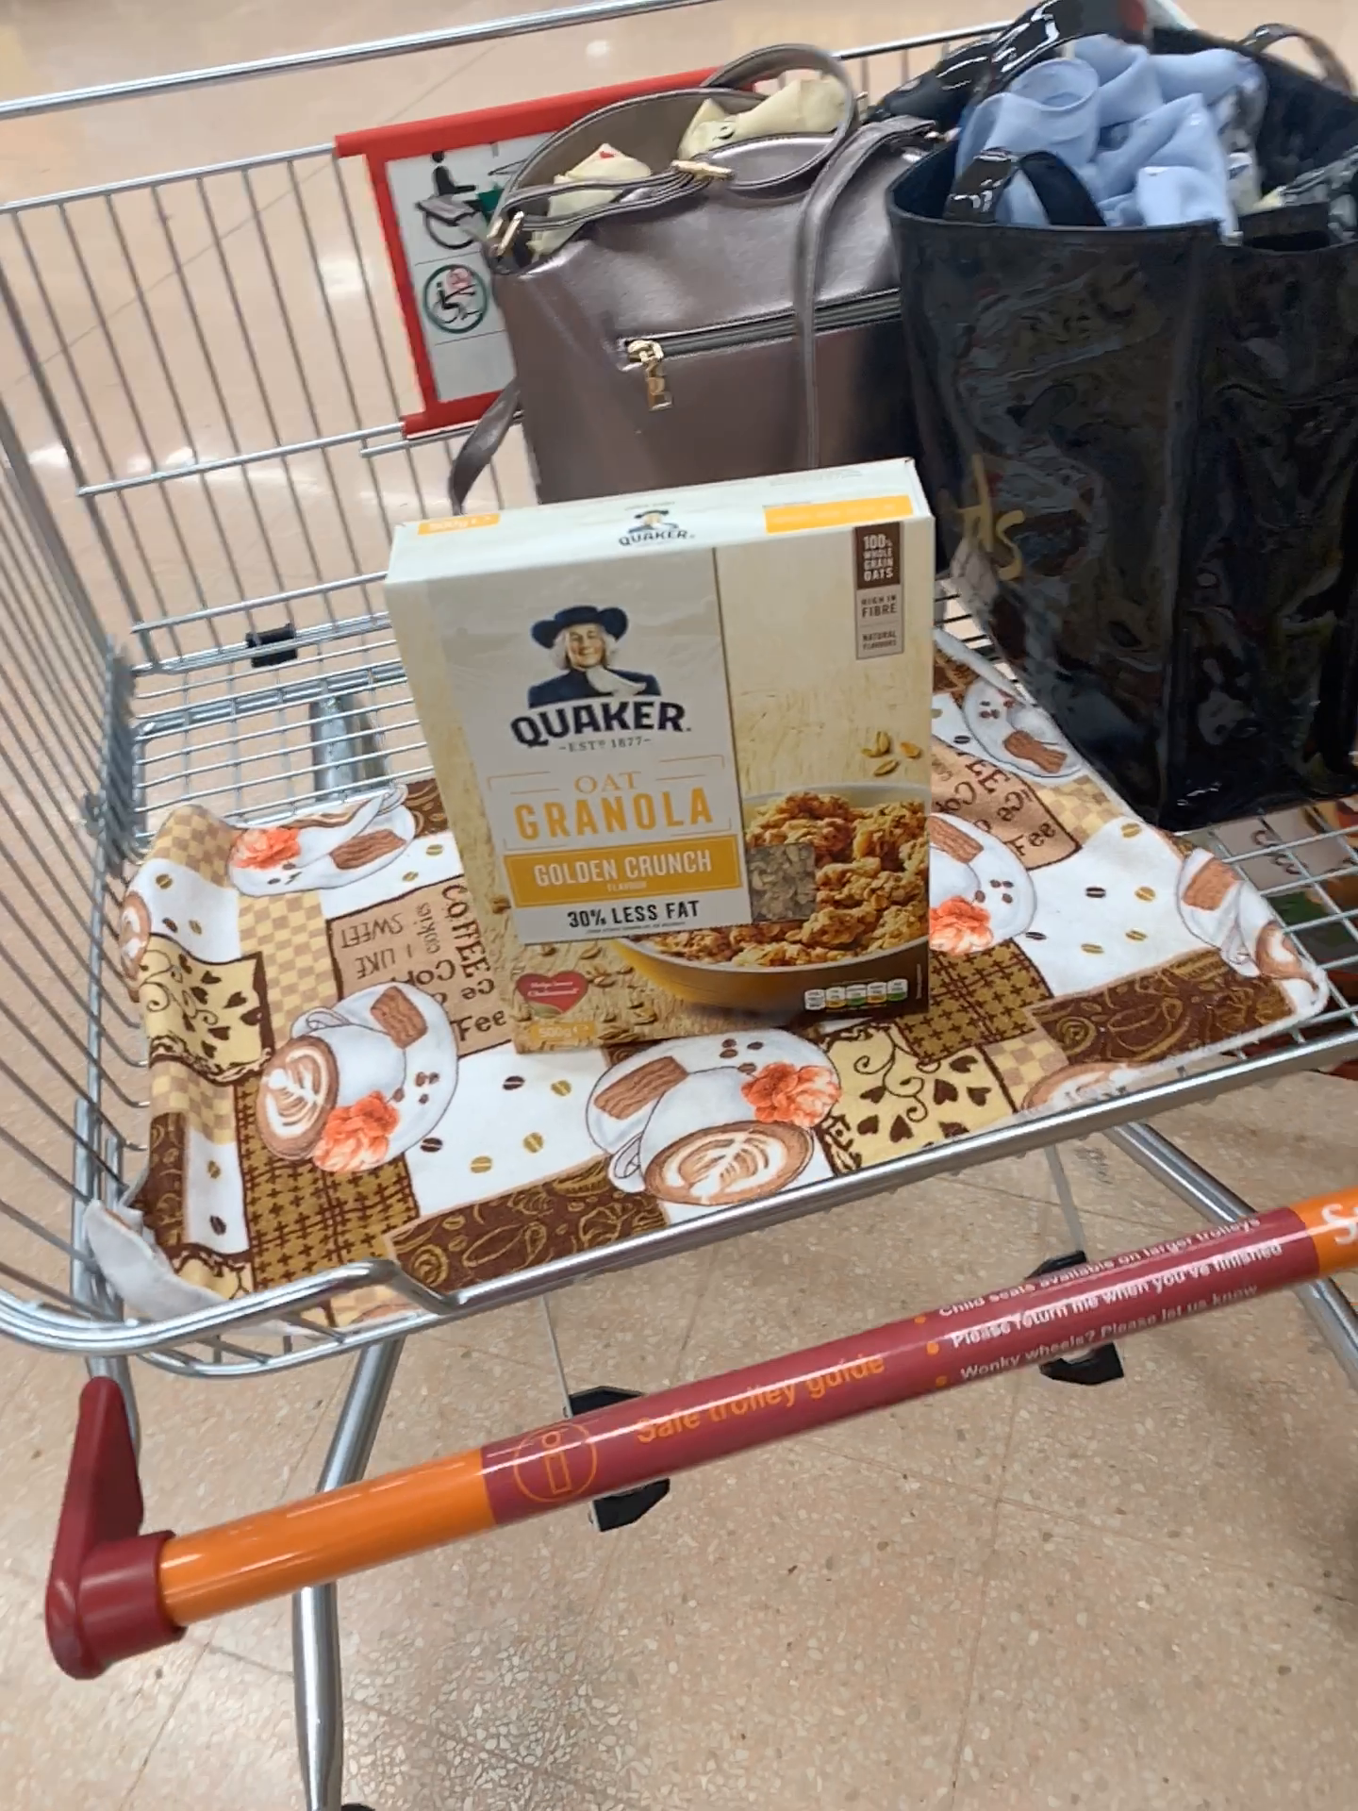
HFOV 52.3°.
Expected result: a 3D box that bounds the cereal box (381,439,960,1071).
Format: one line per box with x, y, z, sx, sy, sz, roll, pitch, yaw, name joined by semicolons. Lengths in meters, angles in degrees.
0.009;-0.047;0.578;0.200;0.258;0.050;-7;41;2;cereal box
